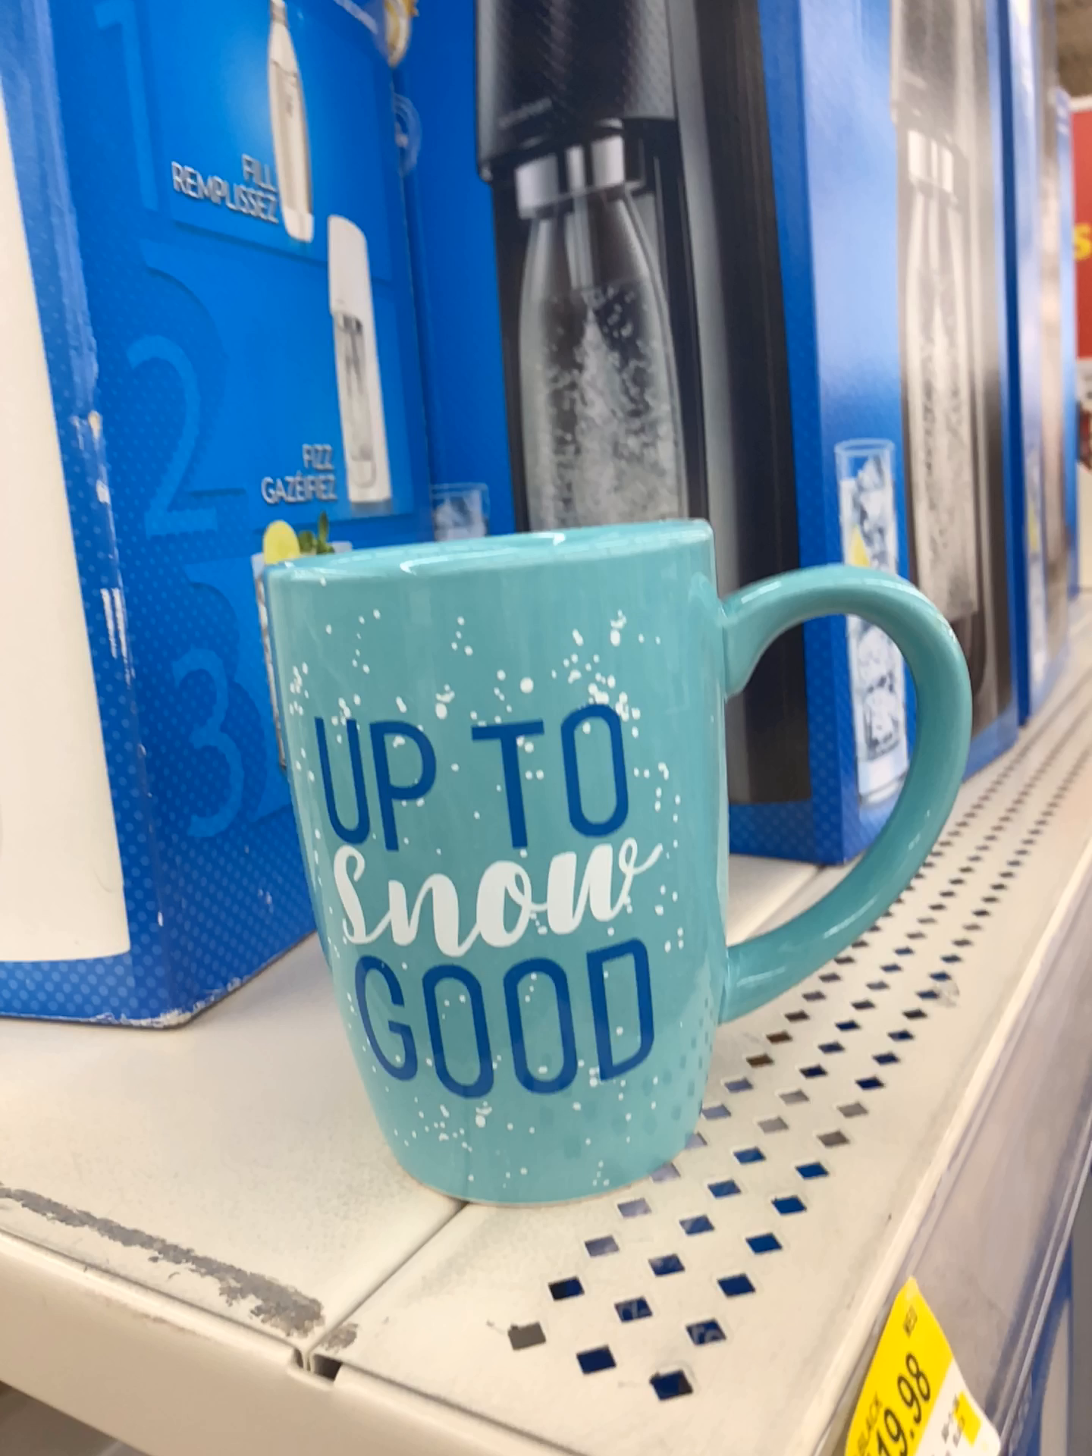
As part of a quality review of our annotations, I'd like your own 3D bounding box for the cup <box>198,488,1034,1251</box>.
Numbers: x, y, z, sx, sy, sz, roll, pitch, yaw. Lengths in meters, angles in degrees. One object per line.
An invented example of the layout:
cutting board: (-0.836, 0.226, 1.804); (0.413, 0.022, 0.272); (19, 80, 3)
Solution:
cup: (0.012, 0.017, 0.256); (0.140, 0.120, 0.090); (-6, 10, -8)
